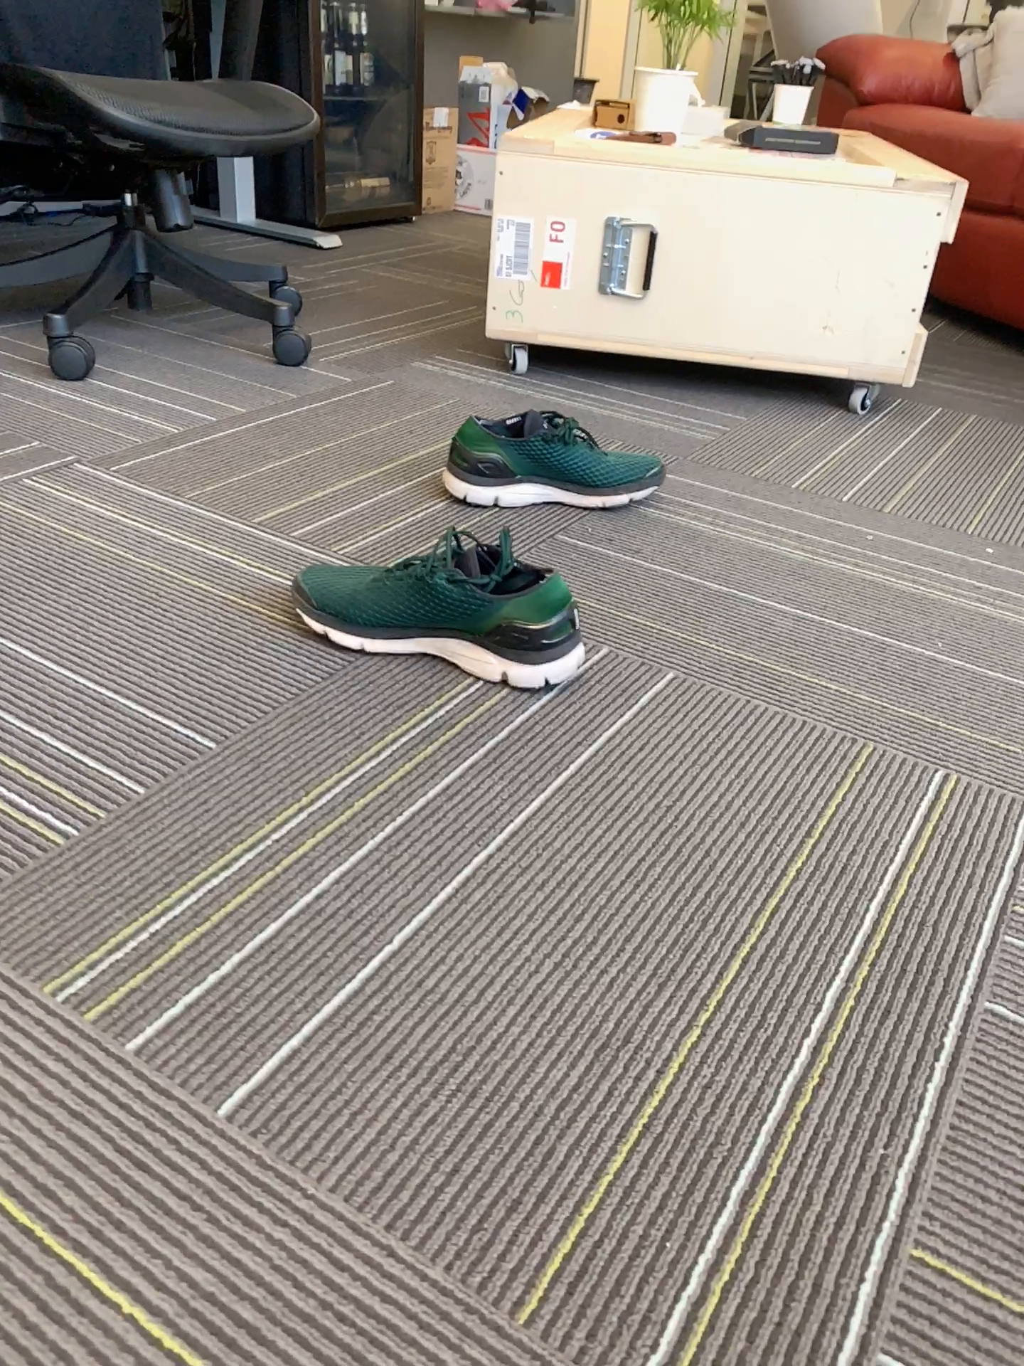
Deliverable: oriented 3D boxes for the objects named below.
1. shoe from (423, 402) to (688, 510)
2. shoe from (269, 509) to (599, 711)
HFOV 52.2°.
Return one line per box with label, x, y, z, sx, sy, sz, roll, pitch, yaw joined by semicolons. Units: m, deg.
shoe;0.051;-0.297;1.370;0.320;0.099;0.121;-1;32;-10
shoe;-0.078;-0.076;1.024;0.300;0.099;0.100;15;33;15
